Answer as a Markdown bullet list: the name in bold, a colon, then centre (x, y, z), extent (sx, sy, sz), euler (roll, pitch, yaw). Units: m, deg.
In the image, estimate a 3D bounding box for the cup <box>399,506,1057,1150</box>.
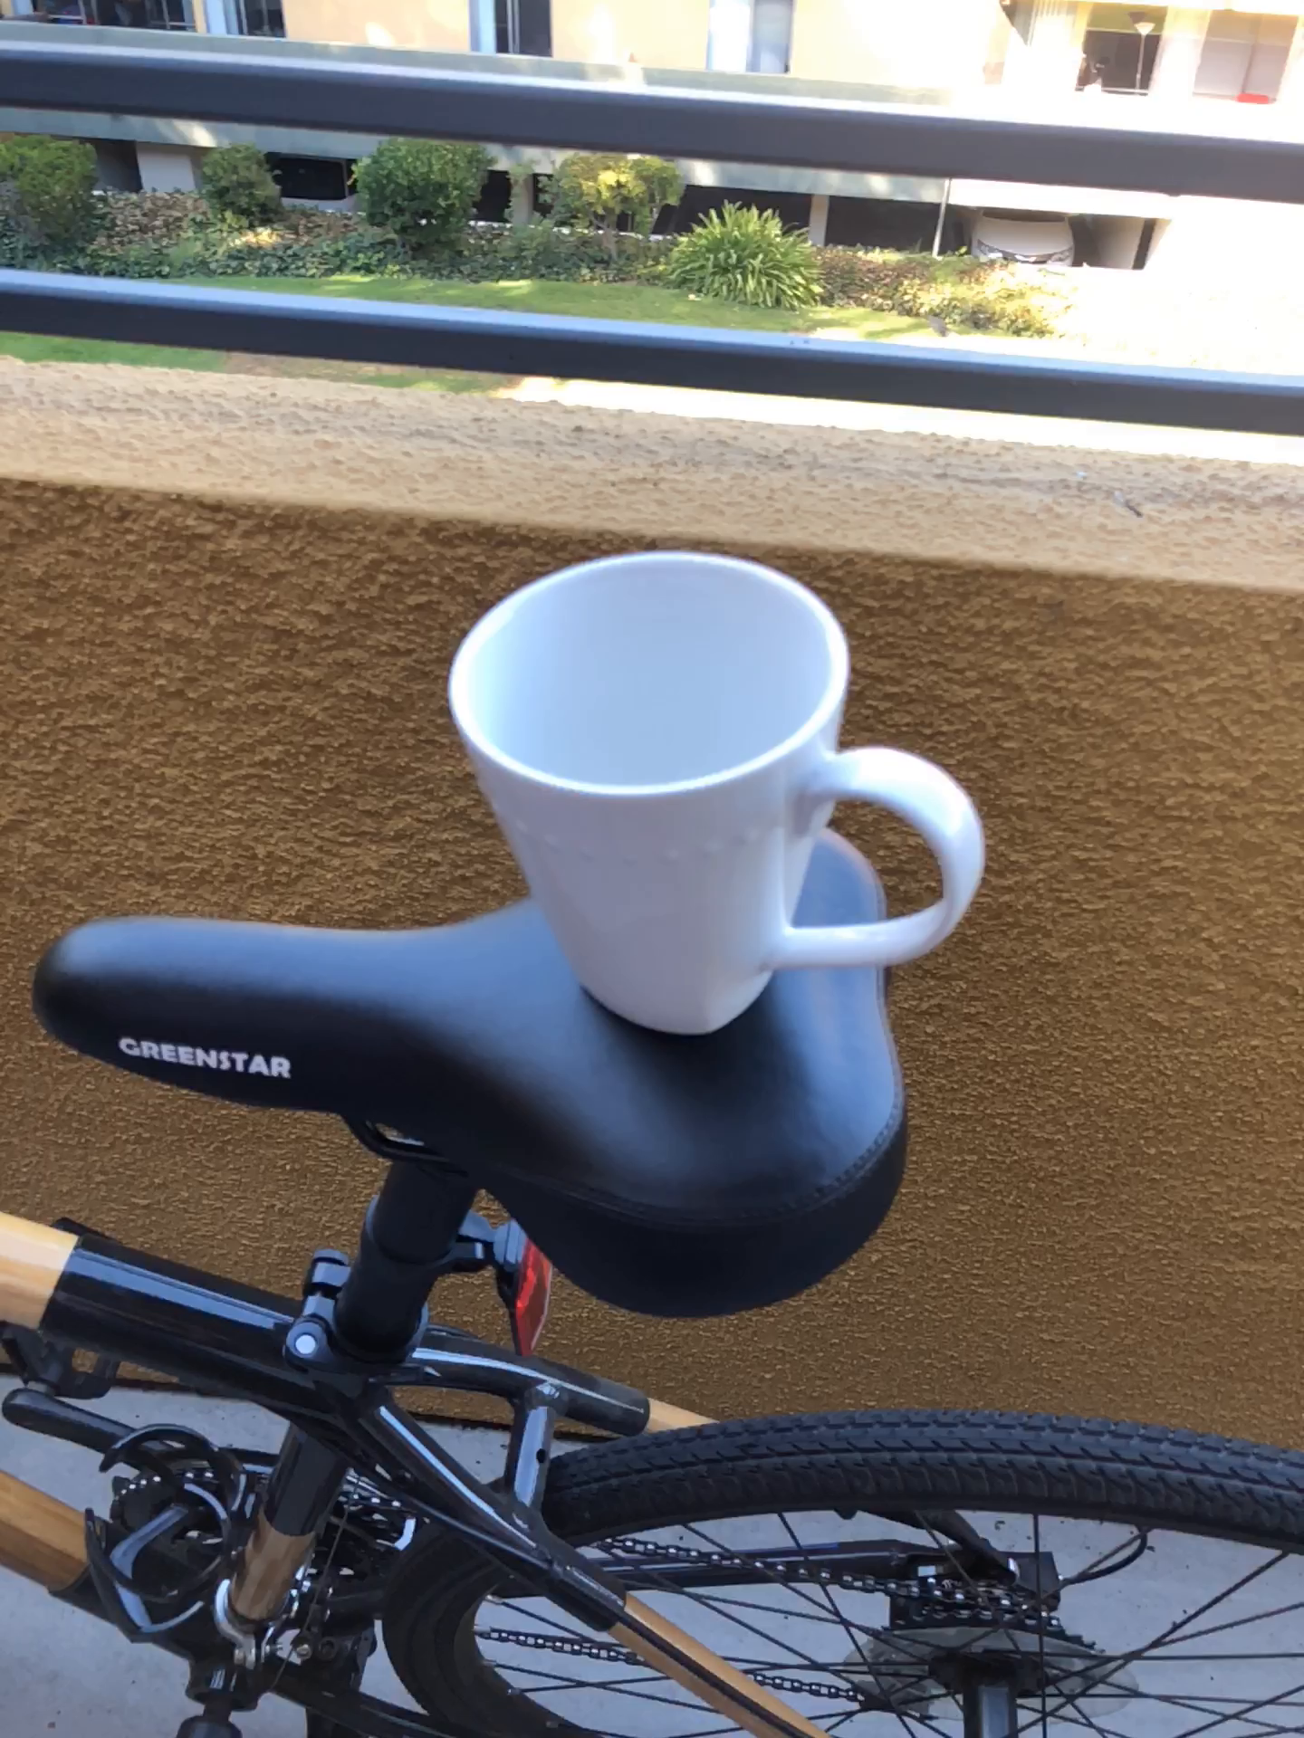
- **cup**: centre (0.019, -0.014, 0.368), extent (0.130, 0.100, 0.090), euler (18, 44, 16)
